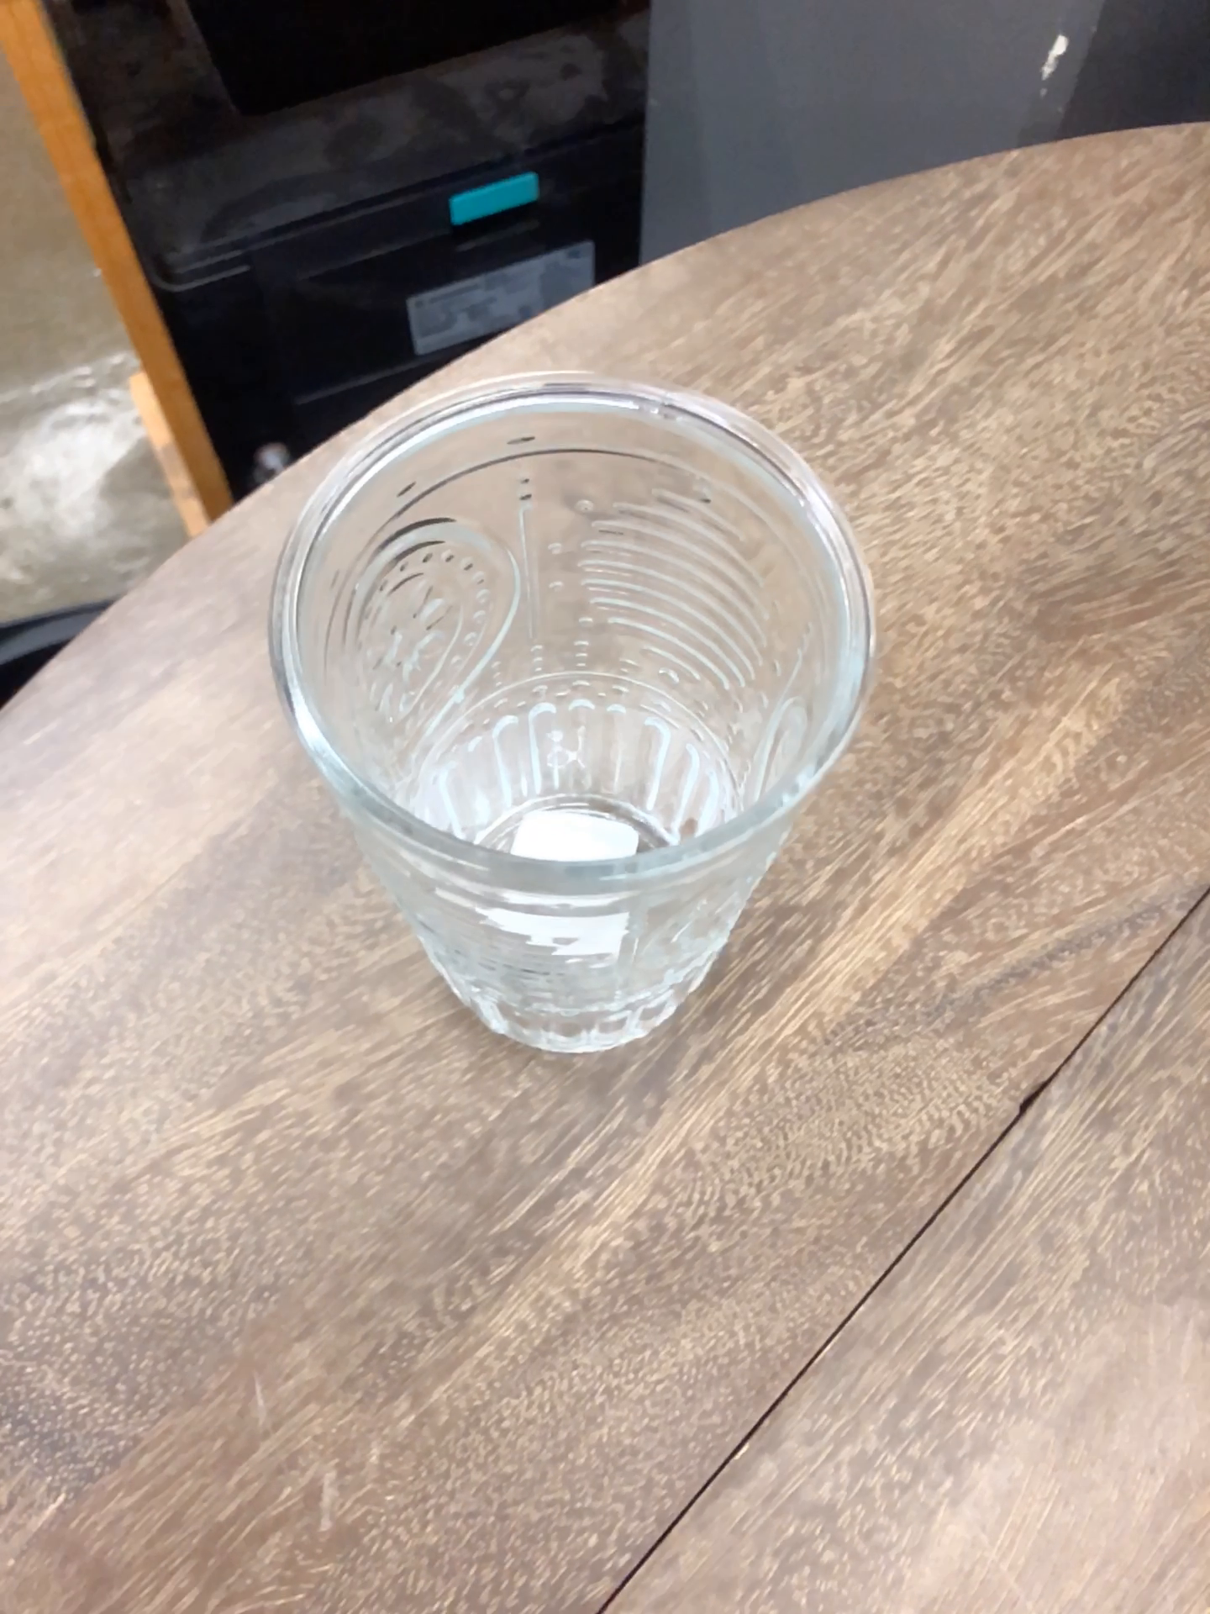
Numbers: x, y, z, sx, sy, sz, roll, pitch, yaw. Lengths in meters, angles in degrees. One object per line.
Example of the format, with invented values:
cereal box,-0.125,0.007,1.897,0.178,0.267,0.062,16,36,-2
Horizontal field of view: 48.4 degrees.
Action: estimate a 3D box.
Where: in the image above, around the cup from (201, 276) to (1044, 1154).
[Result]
cup,-0.002,-0.007,0.222,0.088,0.107,0.085,0,65,0
